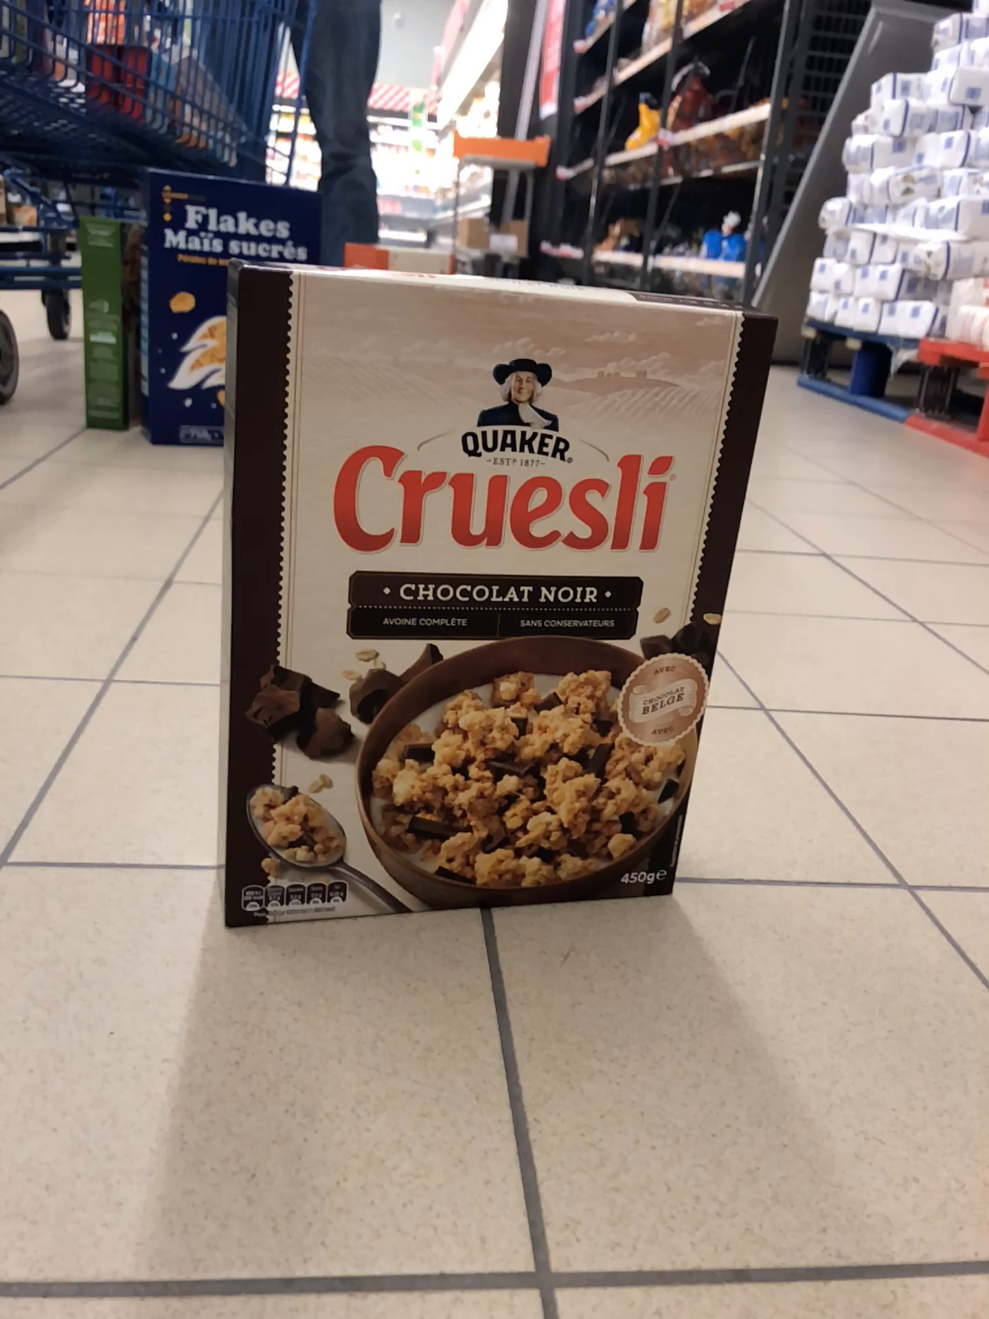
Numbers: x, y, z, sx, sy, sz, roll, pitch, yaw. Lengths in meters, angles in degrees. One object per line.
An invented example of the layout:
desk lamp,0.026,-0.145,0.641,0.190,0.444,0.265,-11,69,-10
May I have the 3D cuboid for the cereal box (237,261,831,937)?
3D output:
cereal box,0.006,-0.017,0.421,0.200,0.239,0.050,0,20,-16
